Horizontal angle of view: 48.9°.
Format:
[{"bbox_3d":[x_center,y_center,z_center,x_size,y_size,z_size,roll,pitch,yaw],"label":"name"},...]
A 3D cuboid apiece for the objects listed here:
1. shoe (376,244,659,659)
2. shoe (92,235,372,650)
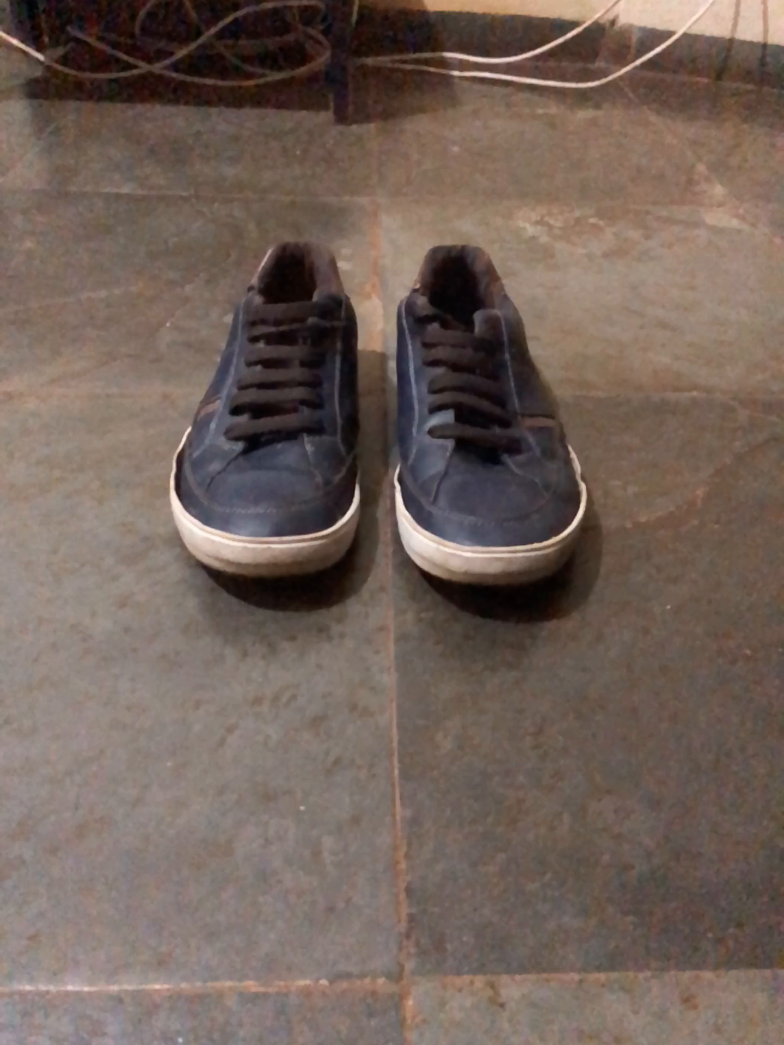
[{"bbox_3d":[0.052,-0.062,0.520,0.110,0.099,0.292,0,39,-4],"label":"shoe"},{"bbox_3d":[-0.074,-0.067,0.517,0.120,0.099,0.292,1,39,-3],"label":"shoe"}]
